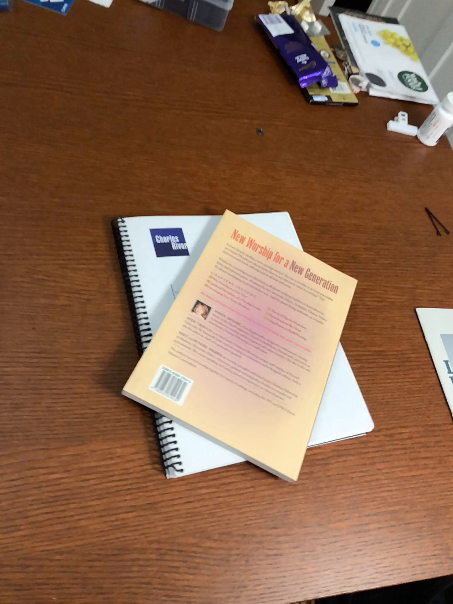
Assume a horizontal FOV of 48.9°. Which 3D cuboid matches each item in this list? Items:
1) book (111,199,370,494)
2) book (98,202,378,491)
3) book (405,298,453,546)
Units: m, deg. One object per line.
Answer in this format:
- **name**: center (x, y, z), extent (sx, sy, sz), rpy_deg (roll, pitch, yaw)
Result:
- **book**: center (0.032, 0.028, 0.512), extent (0.190, 0.020, 0.261), rpy_deg (28, 56, -2)
- **book**: center (0.005, 0.020, 0.527), extent (0.230, 0.020, 0.291), rpy_deg (-7, 64, -22)
- **book**: center (0.333, 0.117, 0.574), extent (0.200, 0.010, 0.271), rpy_deg (1, 61, -18)
